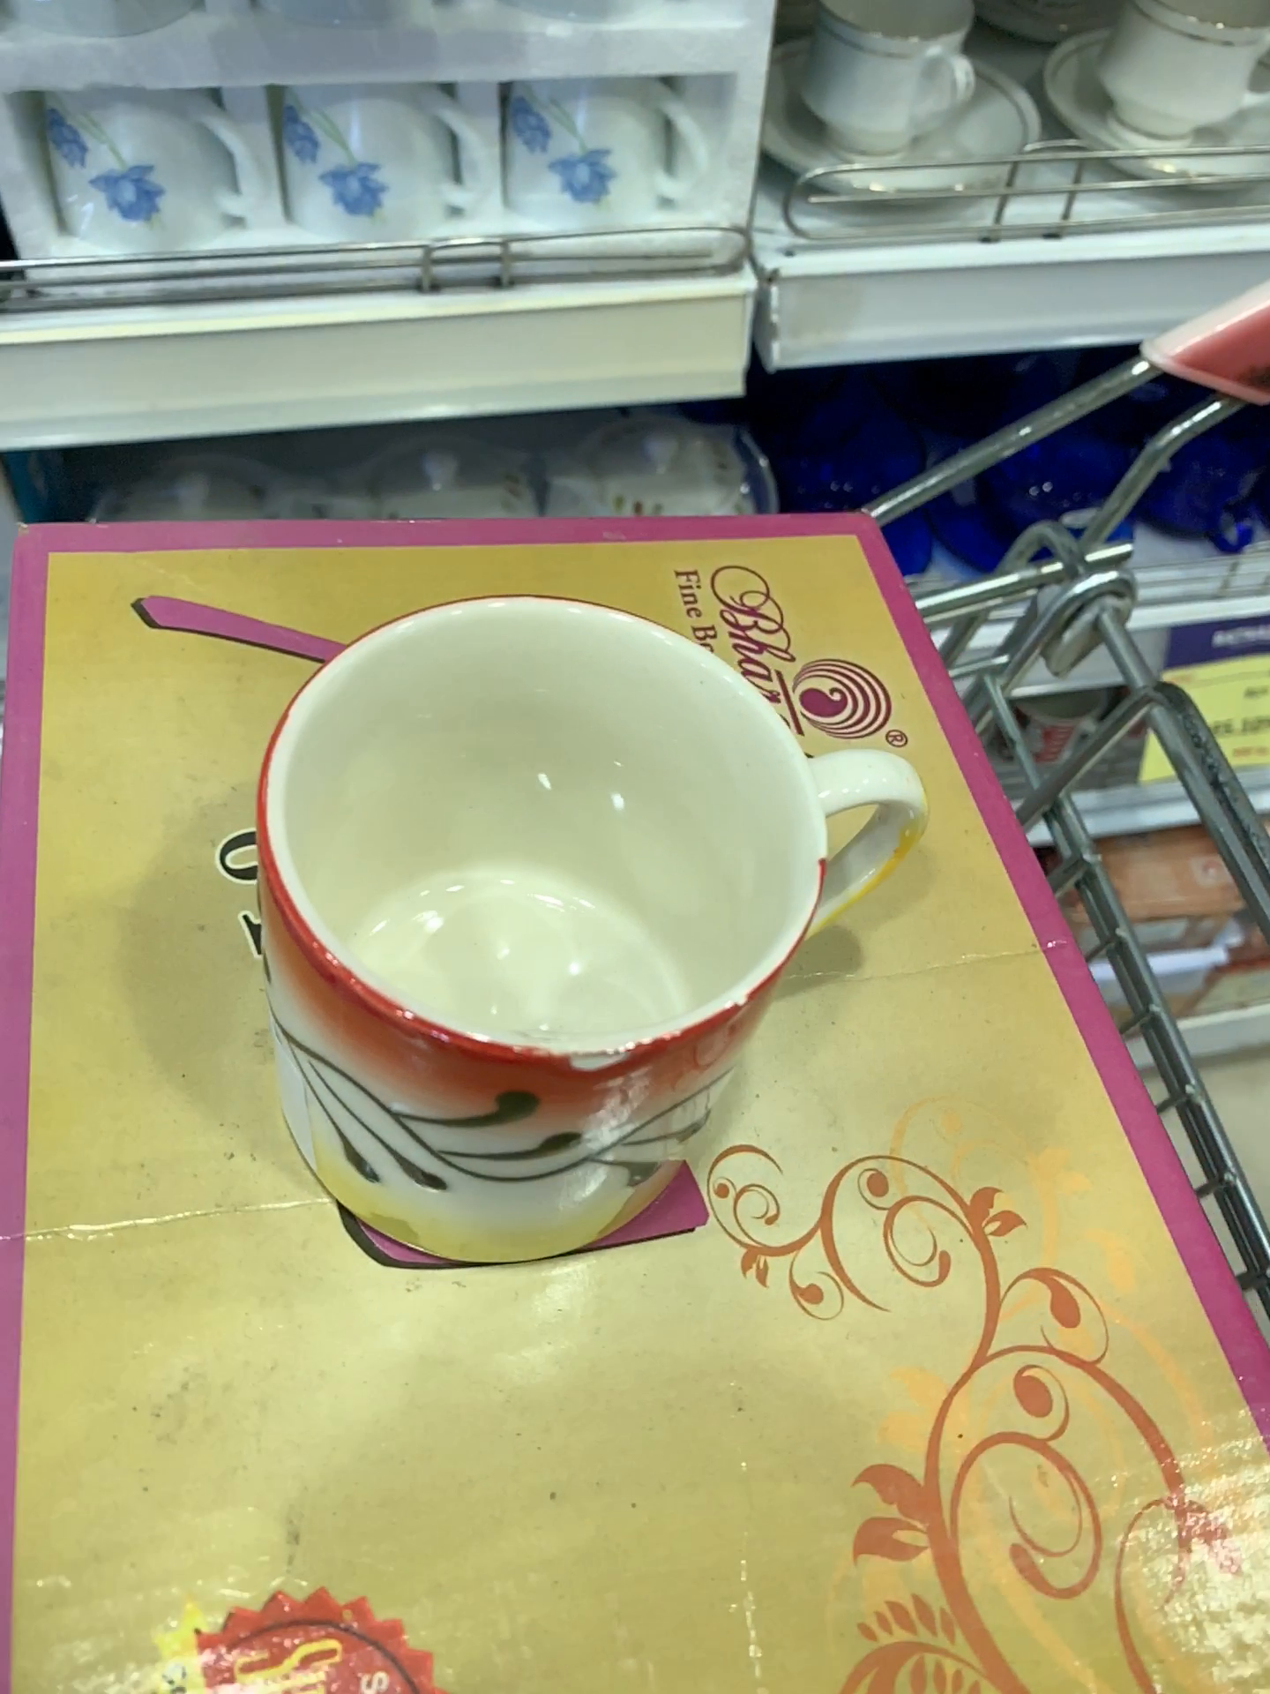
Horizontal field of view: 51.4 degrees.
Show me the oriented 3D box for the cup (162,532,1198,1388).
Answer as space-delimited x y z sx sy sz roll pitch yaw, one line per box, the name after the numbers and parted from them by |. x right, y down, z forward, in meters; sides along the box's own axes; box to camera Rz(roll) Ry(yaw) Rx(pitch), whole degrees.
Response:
-0.002 0.013 0.190 0.110 0.070 0.080 -9 56 -19 | cup
